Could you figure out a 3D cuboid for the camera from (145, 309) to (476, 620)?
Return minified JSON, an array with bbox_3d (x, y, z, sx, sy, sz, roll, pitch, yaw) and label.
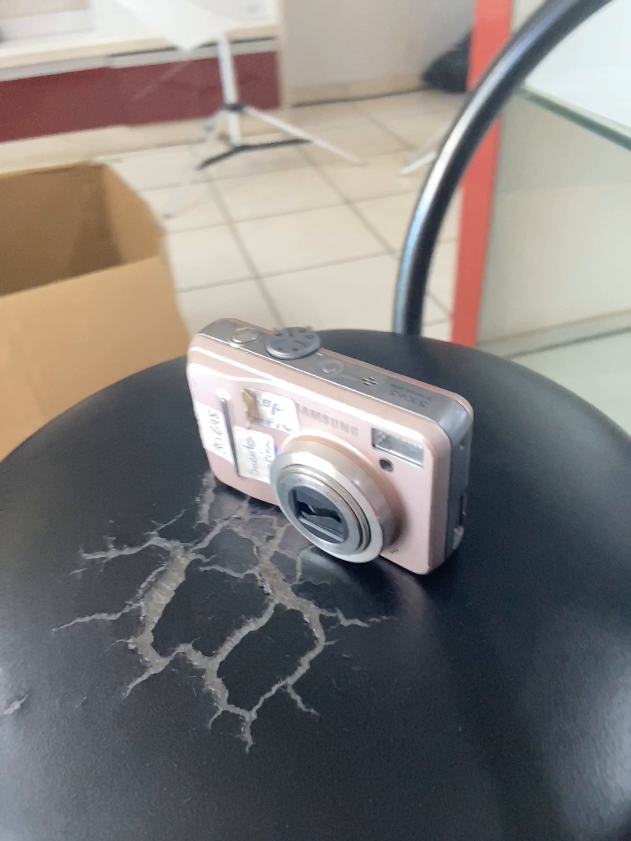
[{"bbox_3d":[-0.002,0.012,0.231,0.100,0.070,0.040,21,45,27],"label":"camera"}]
